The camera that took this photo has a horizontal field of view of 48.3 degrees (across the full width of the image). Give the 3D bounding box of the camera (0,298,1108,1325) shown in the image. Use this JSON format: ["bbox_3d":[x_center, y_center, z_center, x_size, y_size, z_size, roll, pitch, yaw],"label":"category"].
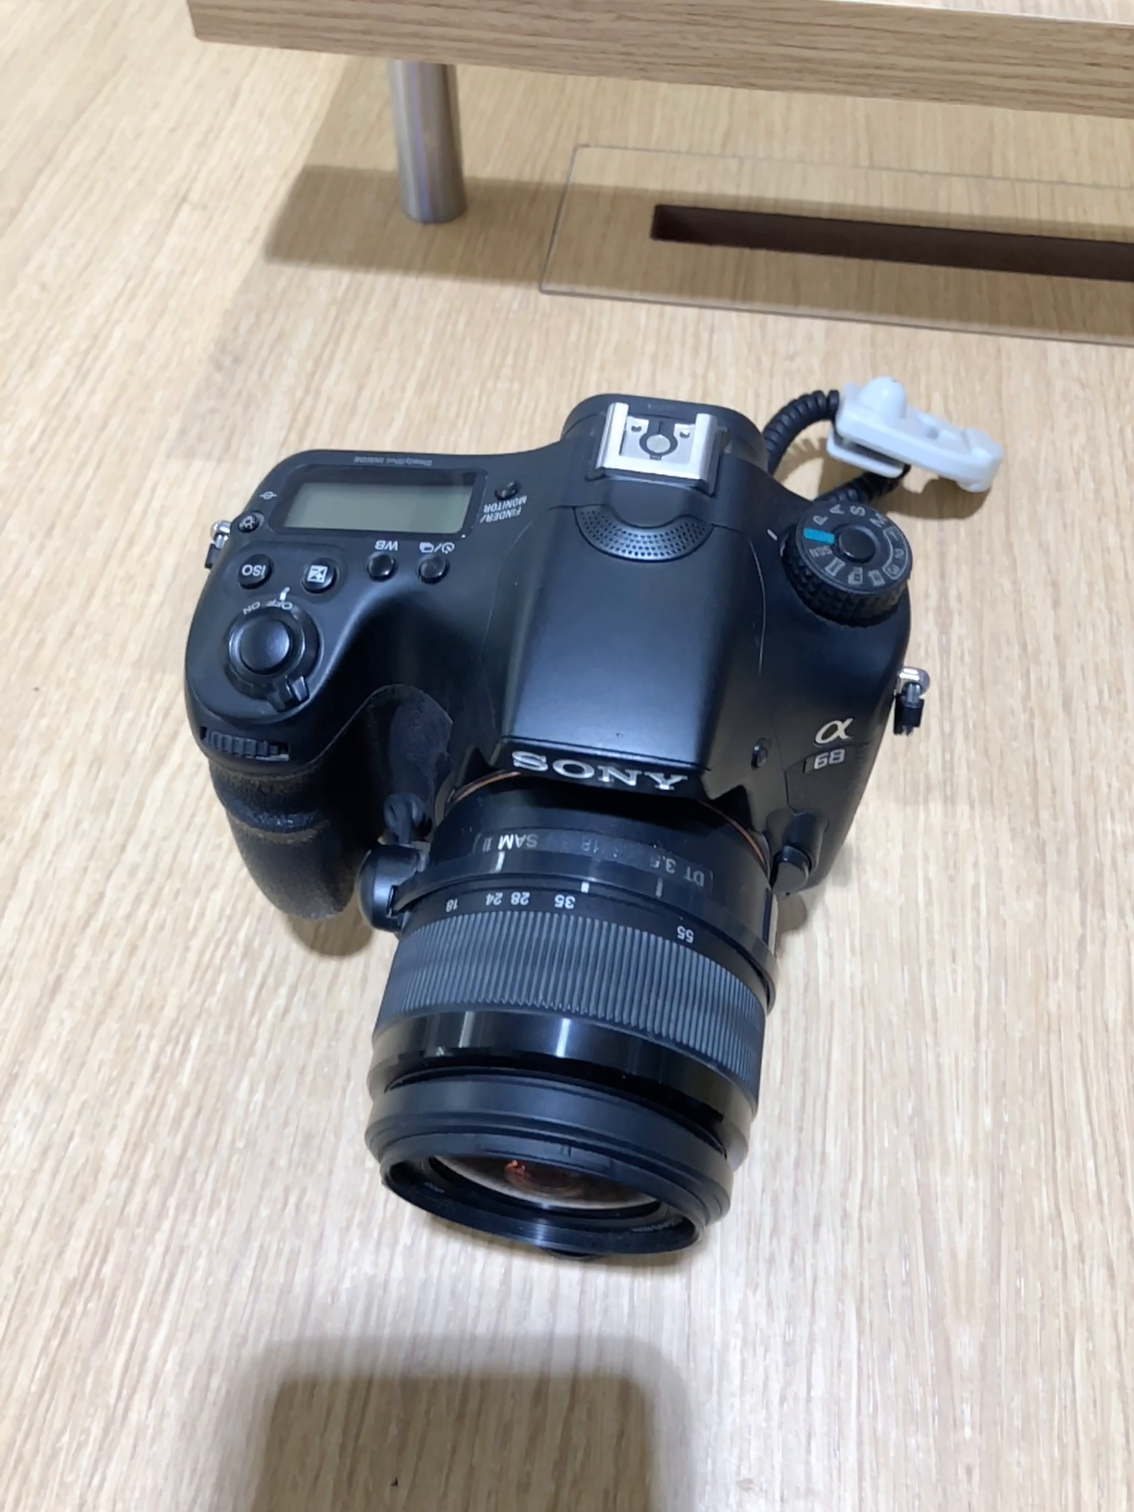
[{"bbox_3d":[-0.003,0.005,0.207,0.140,0.080,0.131,6,56,5],"label":"camera"}]
